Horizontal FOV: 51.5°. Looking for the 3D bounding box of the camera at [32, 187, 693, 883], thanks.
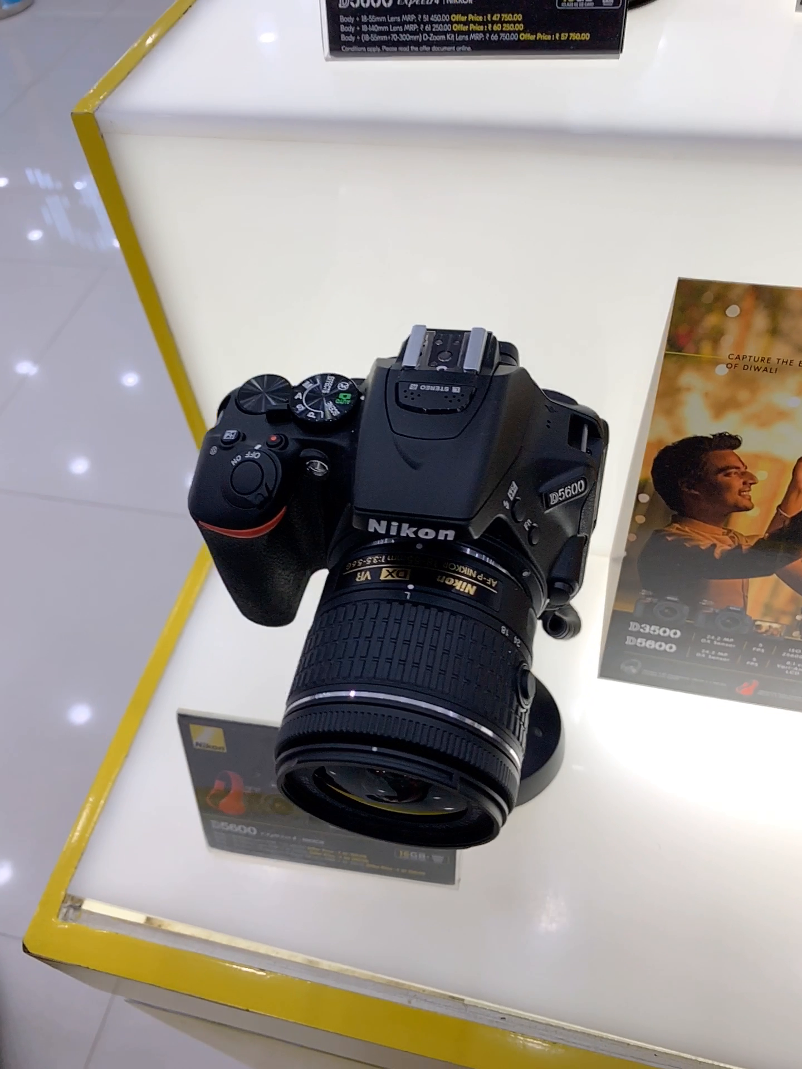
[{"bbox_3d":[0.007,-0.010,0.230,0.120,0.090,0.160,6,53,10],"label":"camera"}]
